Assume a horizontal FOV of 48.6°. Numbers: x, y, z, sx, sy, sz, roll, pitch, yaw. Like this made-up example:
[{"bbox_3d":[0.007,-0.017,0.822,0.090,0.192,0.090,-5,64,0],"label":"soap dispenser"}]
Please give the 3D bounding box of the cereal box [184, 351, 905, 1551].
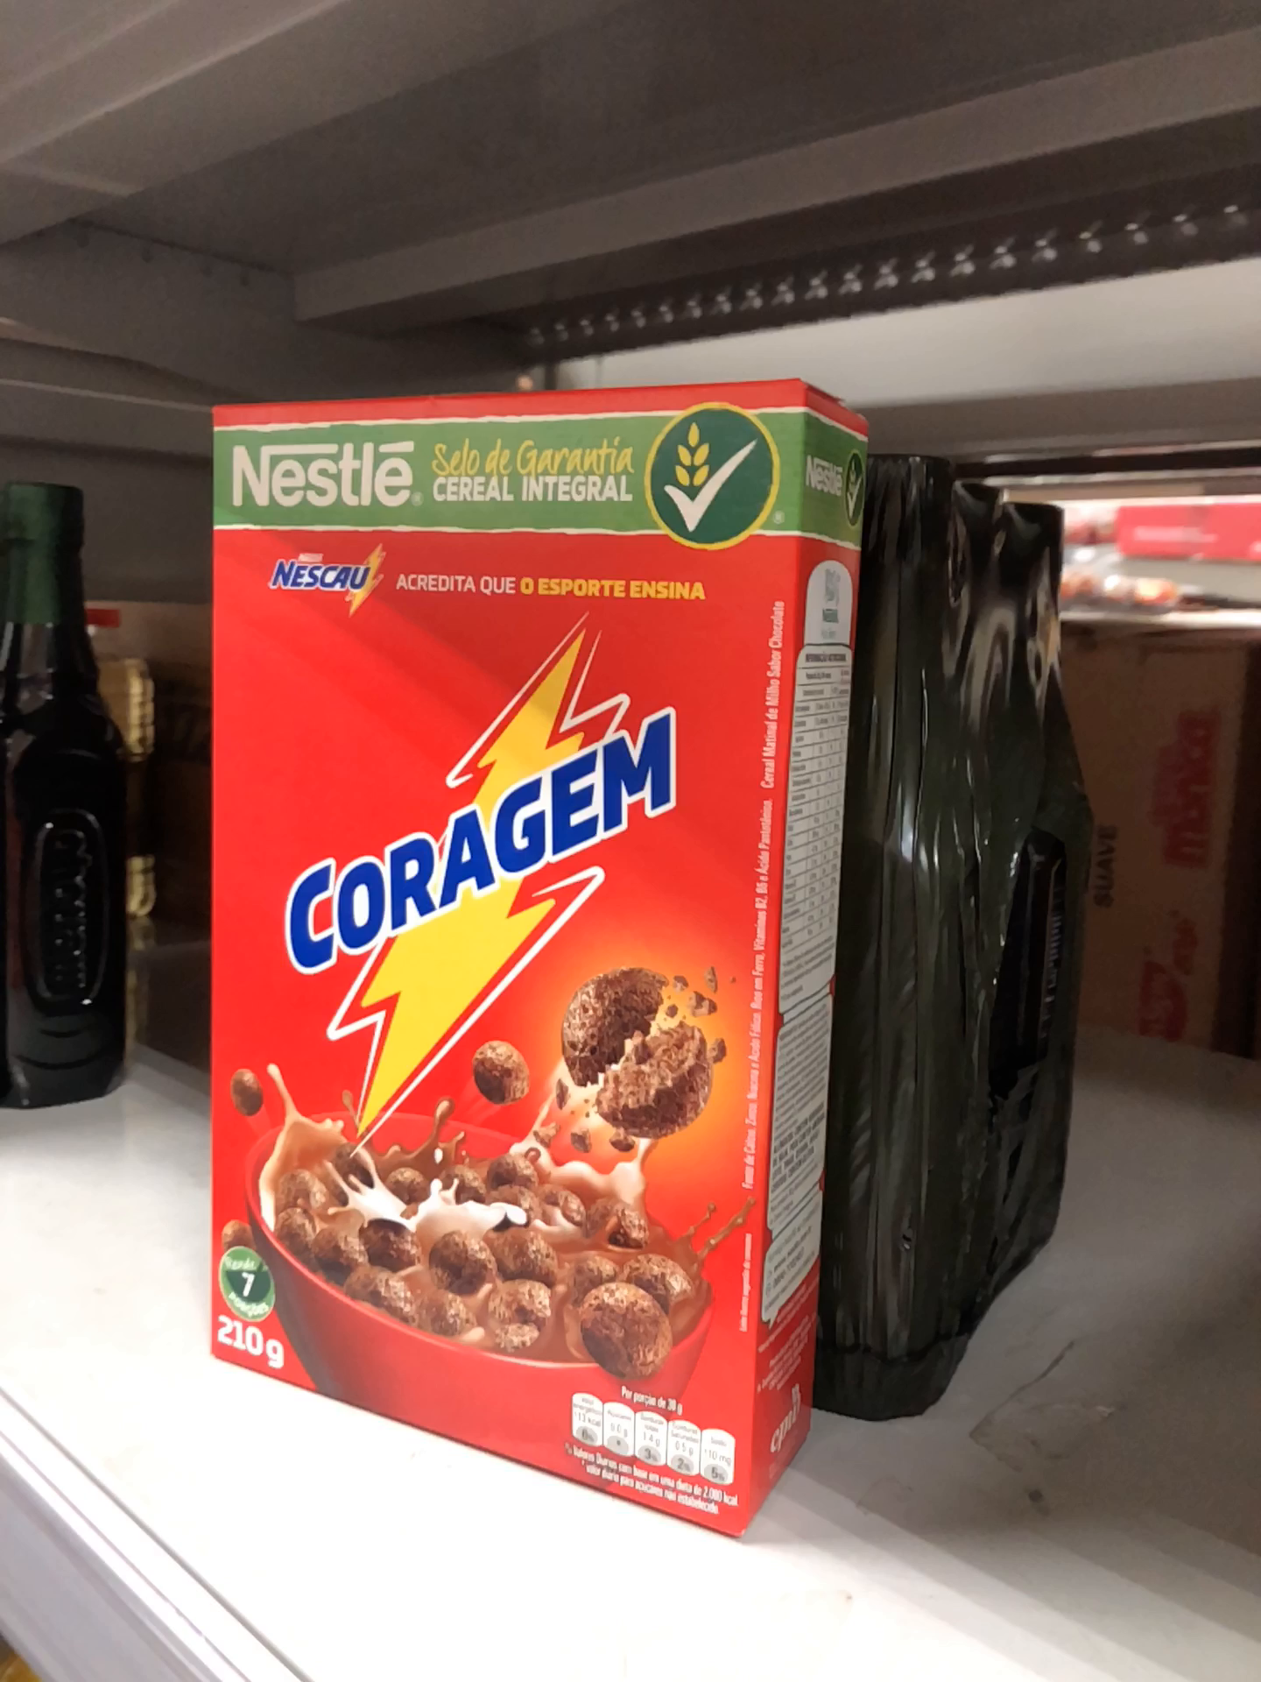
[{"bbox_3d":[-0.028,0.018,0.353,0.170,0.249,0.060,5,7,28],"label":"cereal box"}]
